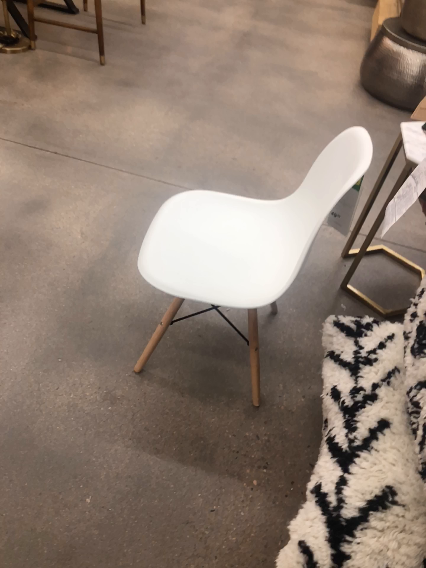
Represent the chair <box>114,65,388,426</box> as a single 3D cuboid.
[{"bbox_3d":[0.069,-0.066,1.314,0.530,0.806,0.442,16,46,5],"label":"chair"}]
